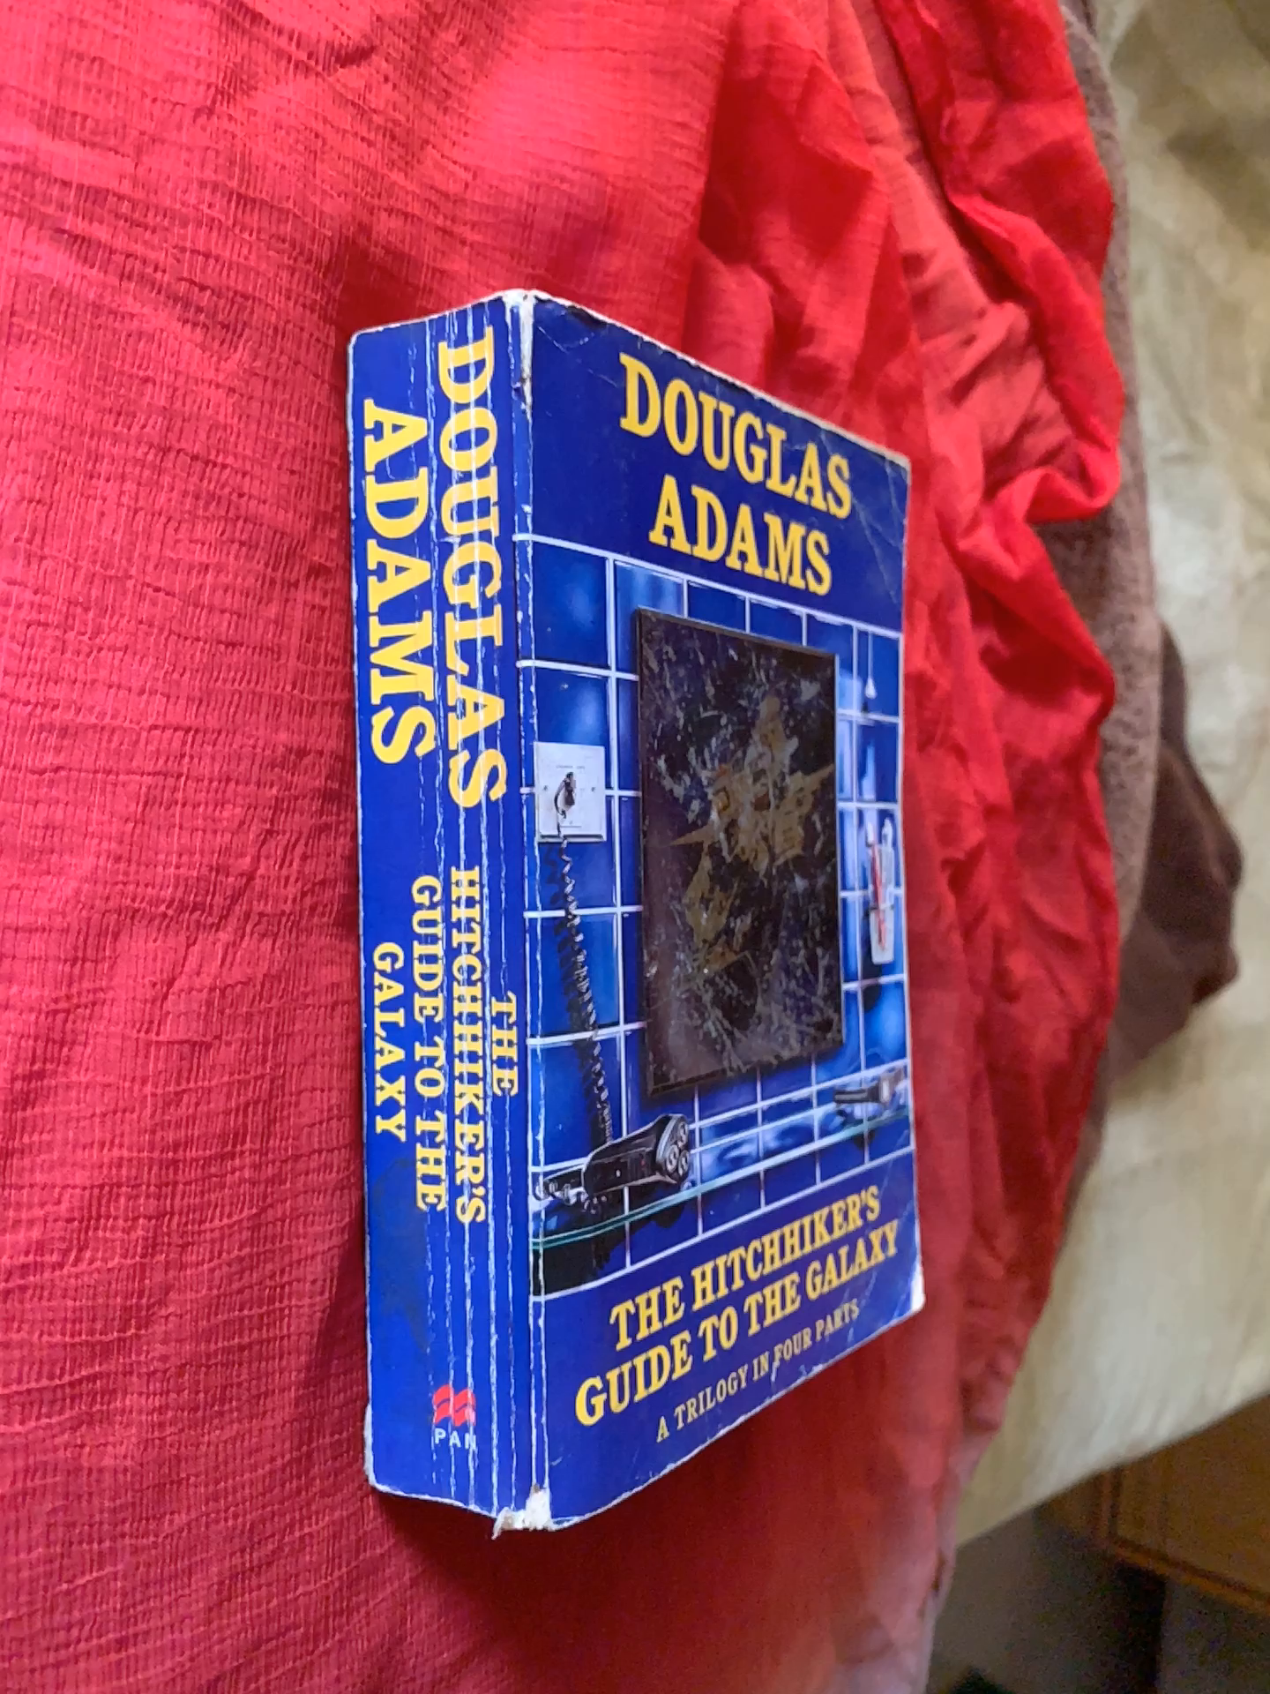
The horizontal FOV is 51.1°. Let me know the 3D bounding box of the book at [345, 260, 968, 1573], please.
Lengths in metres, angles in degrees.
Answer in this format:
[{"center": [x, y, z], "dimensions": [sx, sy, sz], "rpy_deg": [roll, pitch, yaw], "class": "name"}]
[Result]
[{"center": [0.012, 0.010, 0.255], "dimensions": [0.131, 0.044, 0.187], "rpy_deg": [0, 88, -52], "class": "book"}]
